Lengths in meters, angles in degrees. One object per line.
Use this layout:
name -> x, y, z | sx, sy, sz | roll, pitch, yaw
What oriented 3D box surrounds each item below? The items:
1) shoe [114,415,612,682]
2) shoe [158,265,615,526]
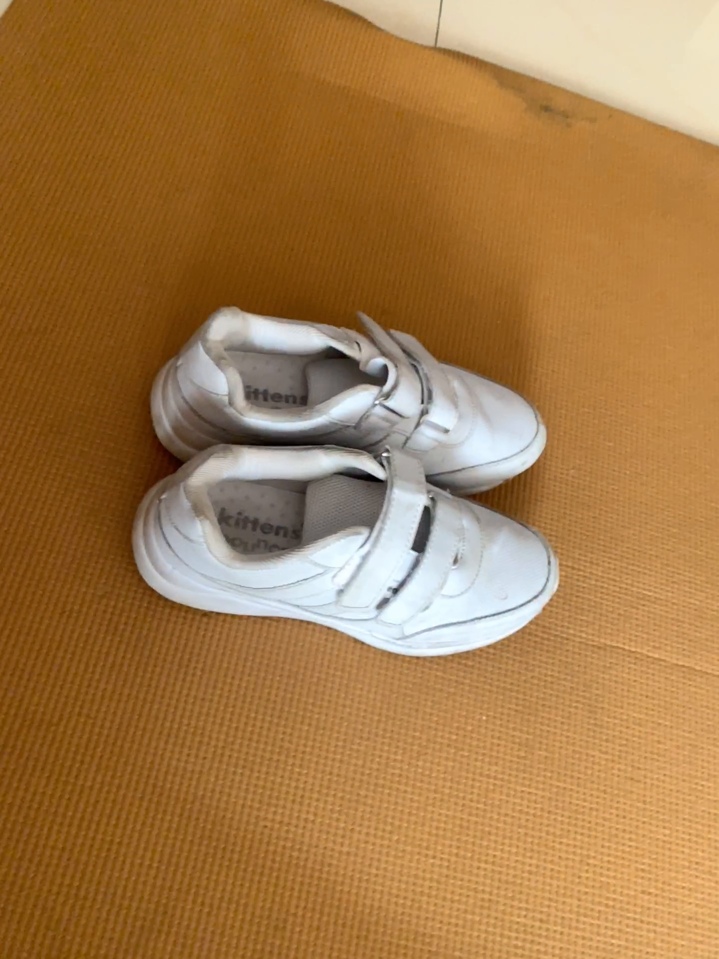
shoe -> 0.001, 0.047, 0.410 | 0.240, 0.100, 0.090 | 9, 66, -11
shoe -> 0.017, -0.043, 0.441 | 0.250, 0.070, 0.090 | 9, 66, -11
